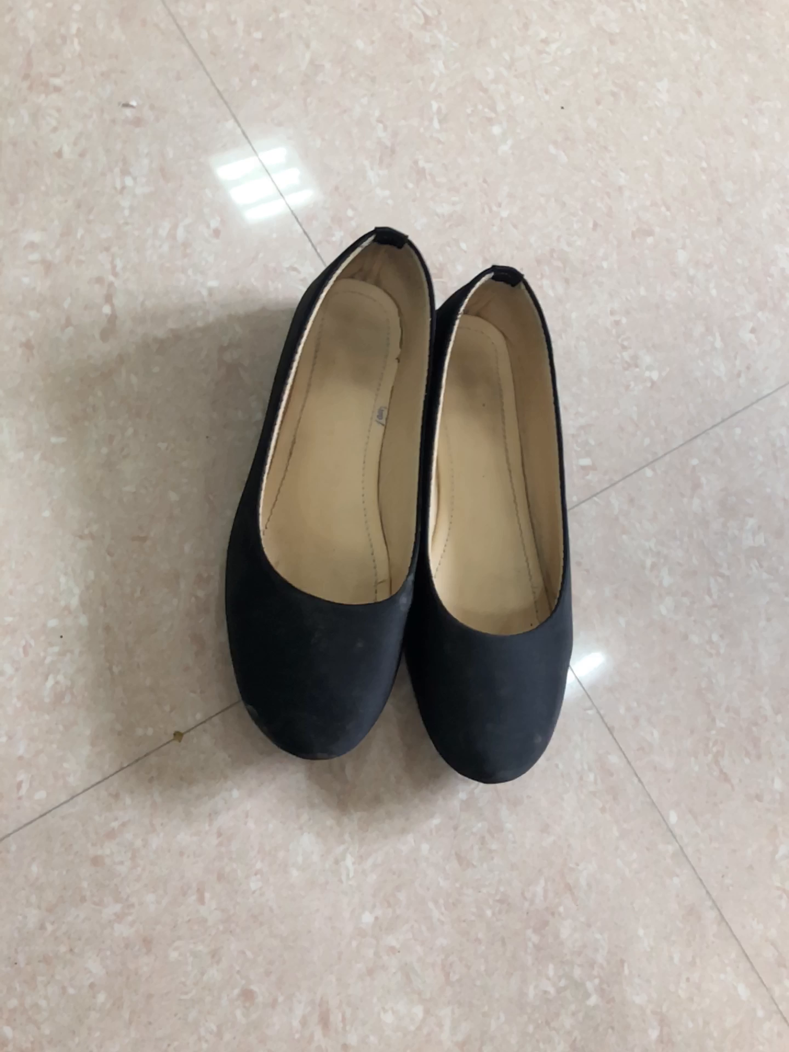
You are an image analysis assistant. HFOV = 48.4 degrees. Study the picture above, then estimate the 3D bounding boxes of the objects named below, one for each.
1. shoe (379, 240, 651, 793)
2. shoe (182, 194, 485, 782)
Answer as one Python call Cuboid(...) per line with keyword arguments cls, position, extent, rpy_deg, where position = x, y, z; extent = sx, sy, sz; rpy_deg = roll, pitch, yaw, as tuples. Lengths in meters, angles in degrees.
Cuboid(cls="shoe", position=(0.048, -0.001, 0.410), extent=(0.092, 0.075, 0.239), rpy_deg=(5, 72, -16))
Cuboid(cls="shoe", position=(-0.025, -0.015, 0.394), extent=(0.092, 0.075, 0.239), rpy_deg=(11, 70, -14))
